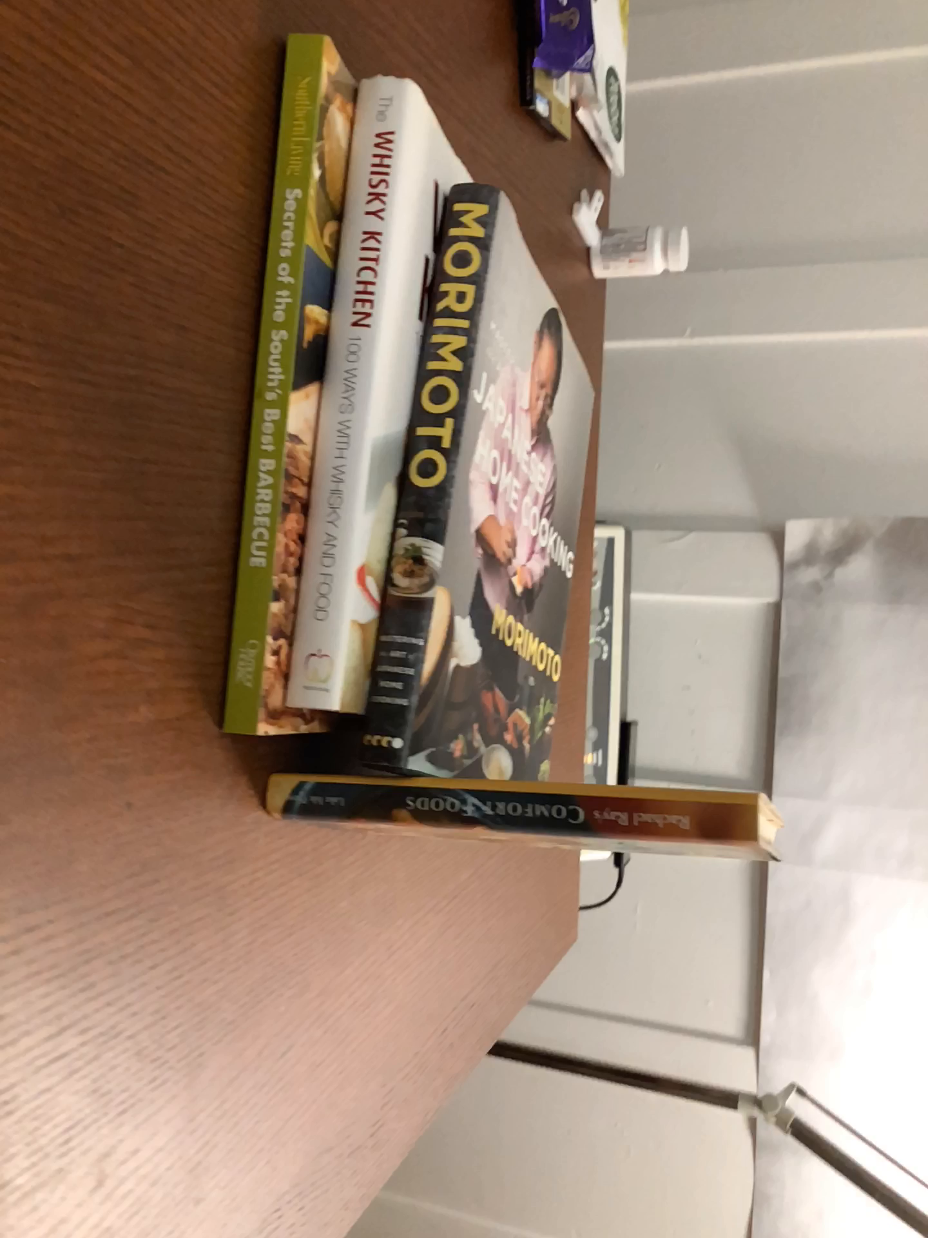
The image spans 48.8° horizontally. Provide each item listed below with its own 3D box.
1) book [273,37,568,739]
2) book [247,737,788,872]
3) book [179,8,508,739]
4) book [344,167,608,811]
[{"bbox_3d":[-0.006,-0.084,0.507,0.221,0.030,0.280,20,76,-68],"label":"book"},{"bbox_3d":[0.043,0.093,0.492,0.211,0.209,0.030,39,55,-67],"label":"book"},{"bbox_3d":[-0.041,-0.087,0.492,0.221,0.030,0.280,14,81,-69],"label":"book"},{"bbox_3d":[0.022,-0.045,0.543,0.221,0.030,0.280,32,64,-66],"label":"book"}]
